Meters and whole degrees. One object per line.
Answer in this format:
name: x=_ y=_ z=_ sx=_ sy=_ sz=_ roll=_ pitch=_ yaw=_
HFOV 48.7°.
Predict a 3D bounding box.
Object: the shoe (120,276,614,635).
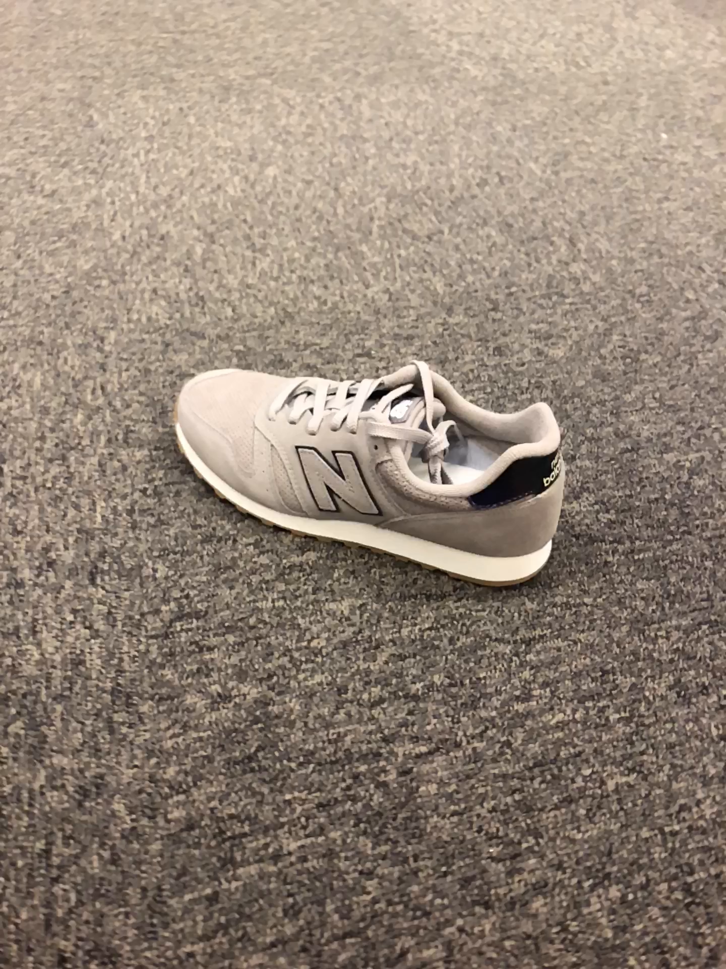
shoe: x=0.000 y=-0.024 z=0.489 sx=0.260 sy=0.109 sz=0.101 roll=18 pitch=47 yaw=14
